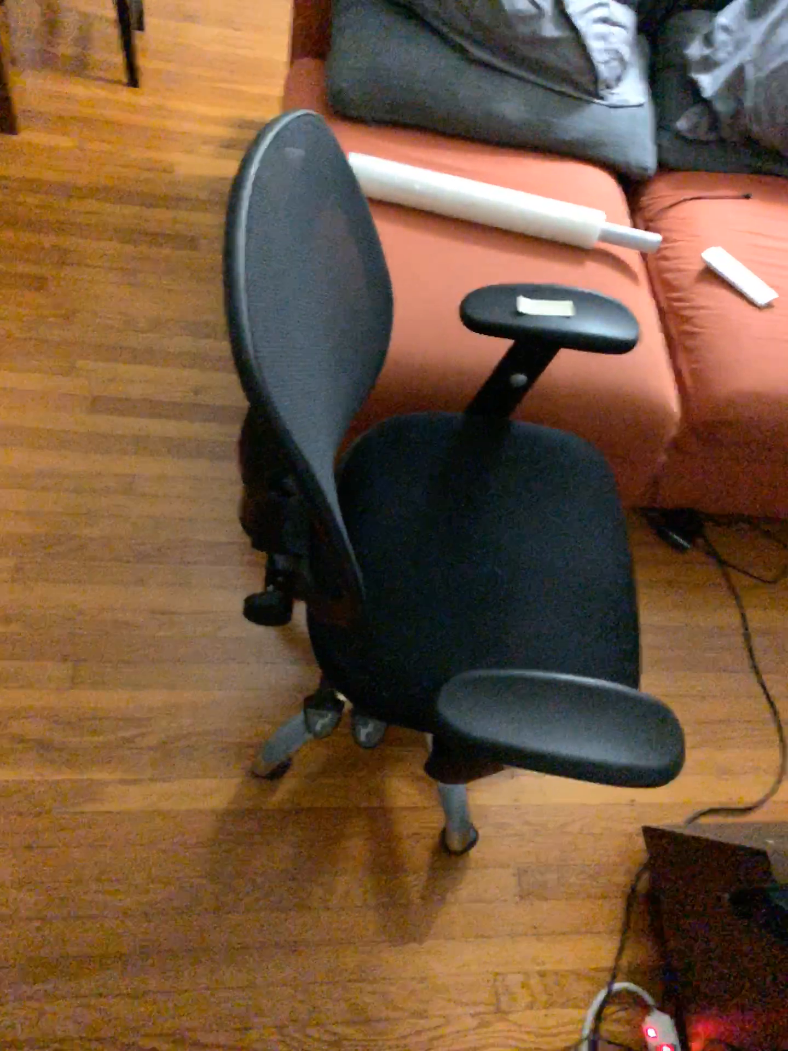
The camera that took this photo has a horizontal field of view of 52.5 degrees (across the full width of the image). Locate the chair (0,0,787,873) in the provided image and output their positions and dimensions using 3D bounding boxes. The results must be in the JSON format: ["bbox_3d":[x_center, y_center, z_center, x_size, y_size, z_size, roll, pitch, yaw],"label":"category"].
[{"bbox_3d":[0.064,-0.019,1.070,0.660,0.976,0.642,9,56,-1],"label":"chair"}]
